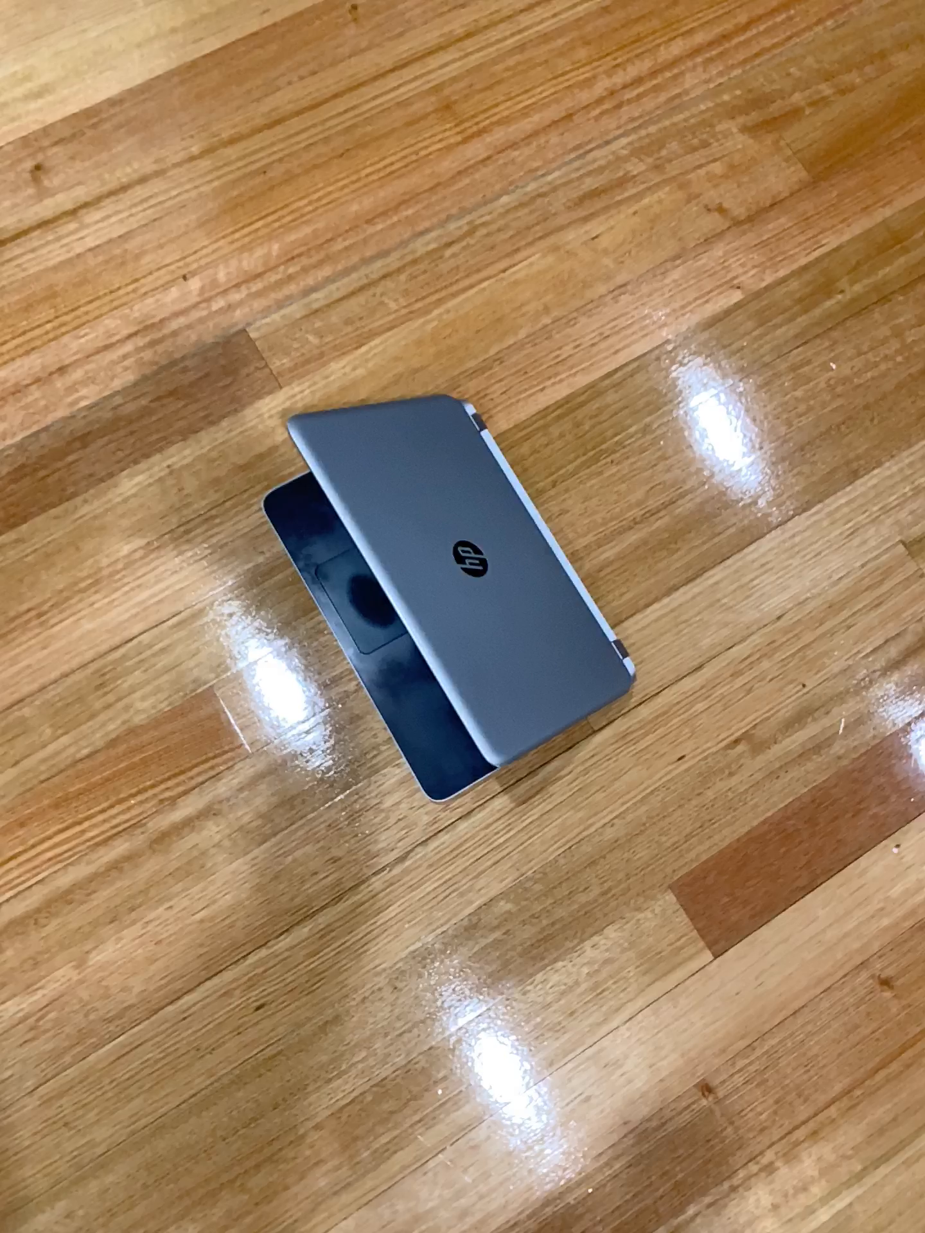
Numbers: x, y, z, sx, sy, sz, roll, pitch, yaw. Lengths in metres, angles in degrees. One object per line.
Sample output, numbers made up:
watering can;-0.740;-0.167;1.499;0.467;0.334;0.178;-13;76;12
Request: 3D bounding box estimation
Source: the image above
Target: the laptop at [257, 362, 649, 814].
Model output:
laptop;-0.013;-0.026;0.868;0.209;0.103;0.332;-29;80;-11
